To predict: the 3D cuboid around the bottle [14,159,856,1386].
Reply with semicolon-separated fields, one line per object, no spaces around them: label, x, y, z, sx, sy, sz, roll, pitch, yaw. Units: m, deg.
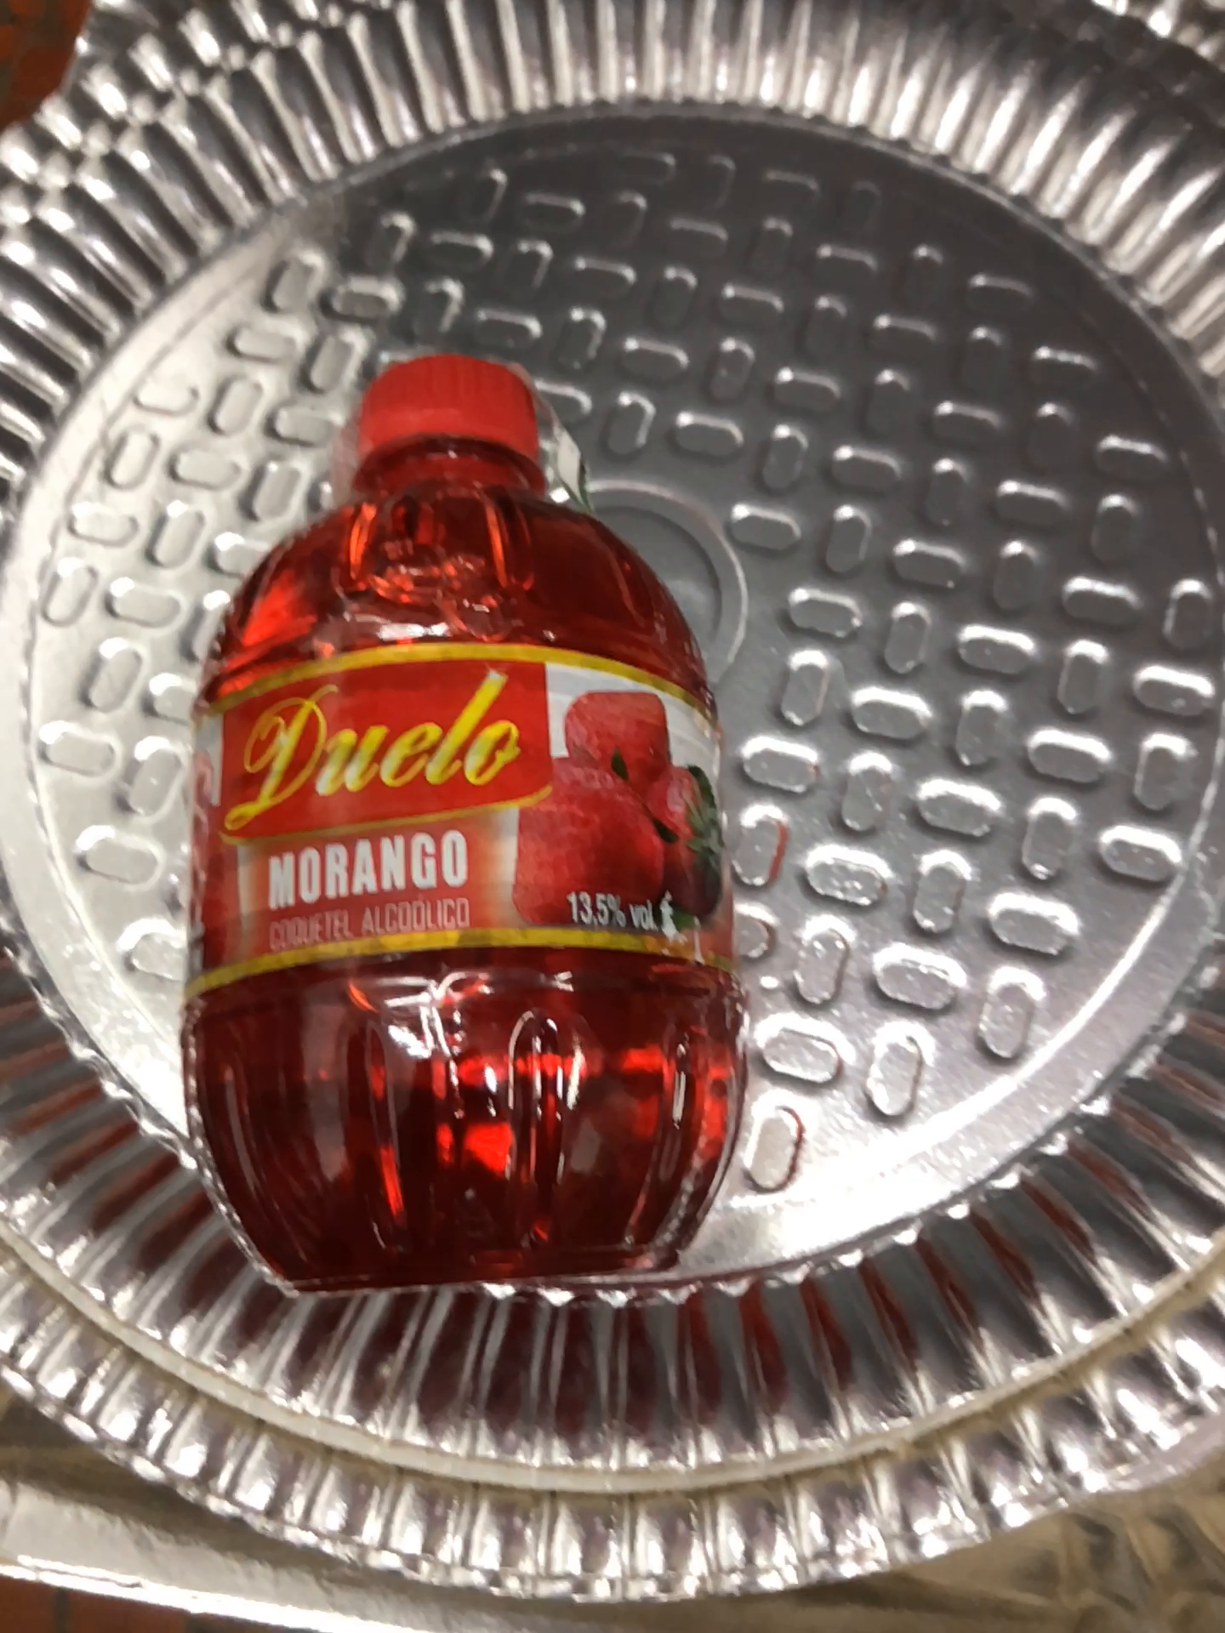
bottle;-0.022;-0.004;0.201;0.090;0.070;0.150;-5;73;3
